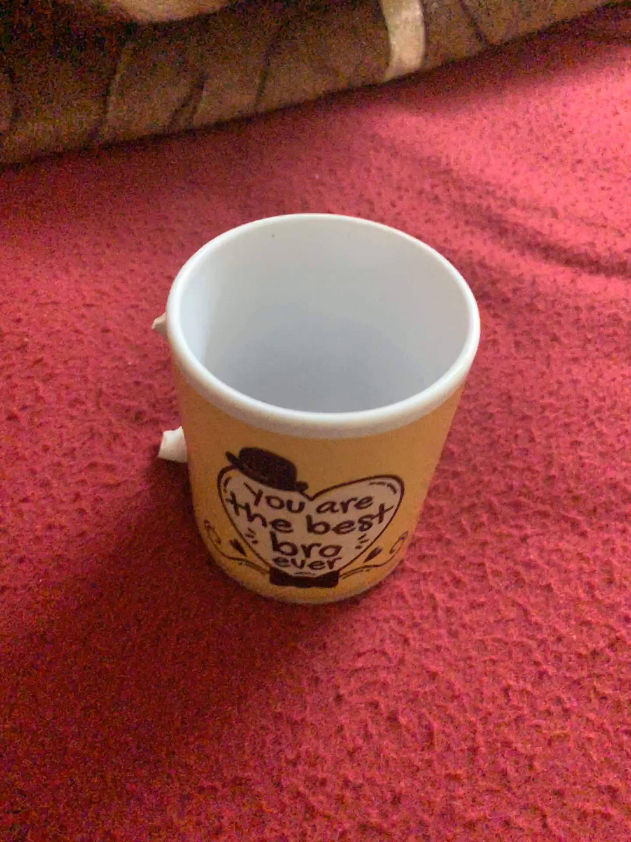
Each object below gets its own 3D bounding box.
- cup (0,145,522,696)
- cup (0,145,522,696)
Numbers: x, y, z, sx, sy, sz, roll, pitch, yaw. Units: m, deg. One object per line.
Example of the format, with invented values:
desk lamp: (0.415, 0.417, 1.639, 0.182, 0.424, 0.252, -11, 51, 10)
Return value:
cup: (-0.019, 0.004, 0.198, 0.110, 0.109, 0.080, 25, 56, 14)
cup: (-0.019, 0.004, 0.198, 0.110, 0.109, 0.080, 25, 56, 14)
